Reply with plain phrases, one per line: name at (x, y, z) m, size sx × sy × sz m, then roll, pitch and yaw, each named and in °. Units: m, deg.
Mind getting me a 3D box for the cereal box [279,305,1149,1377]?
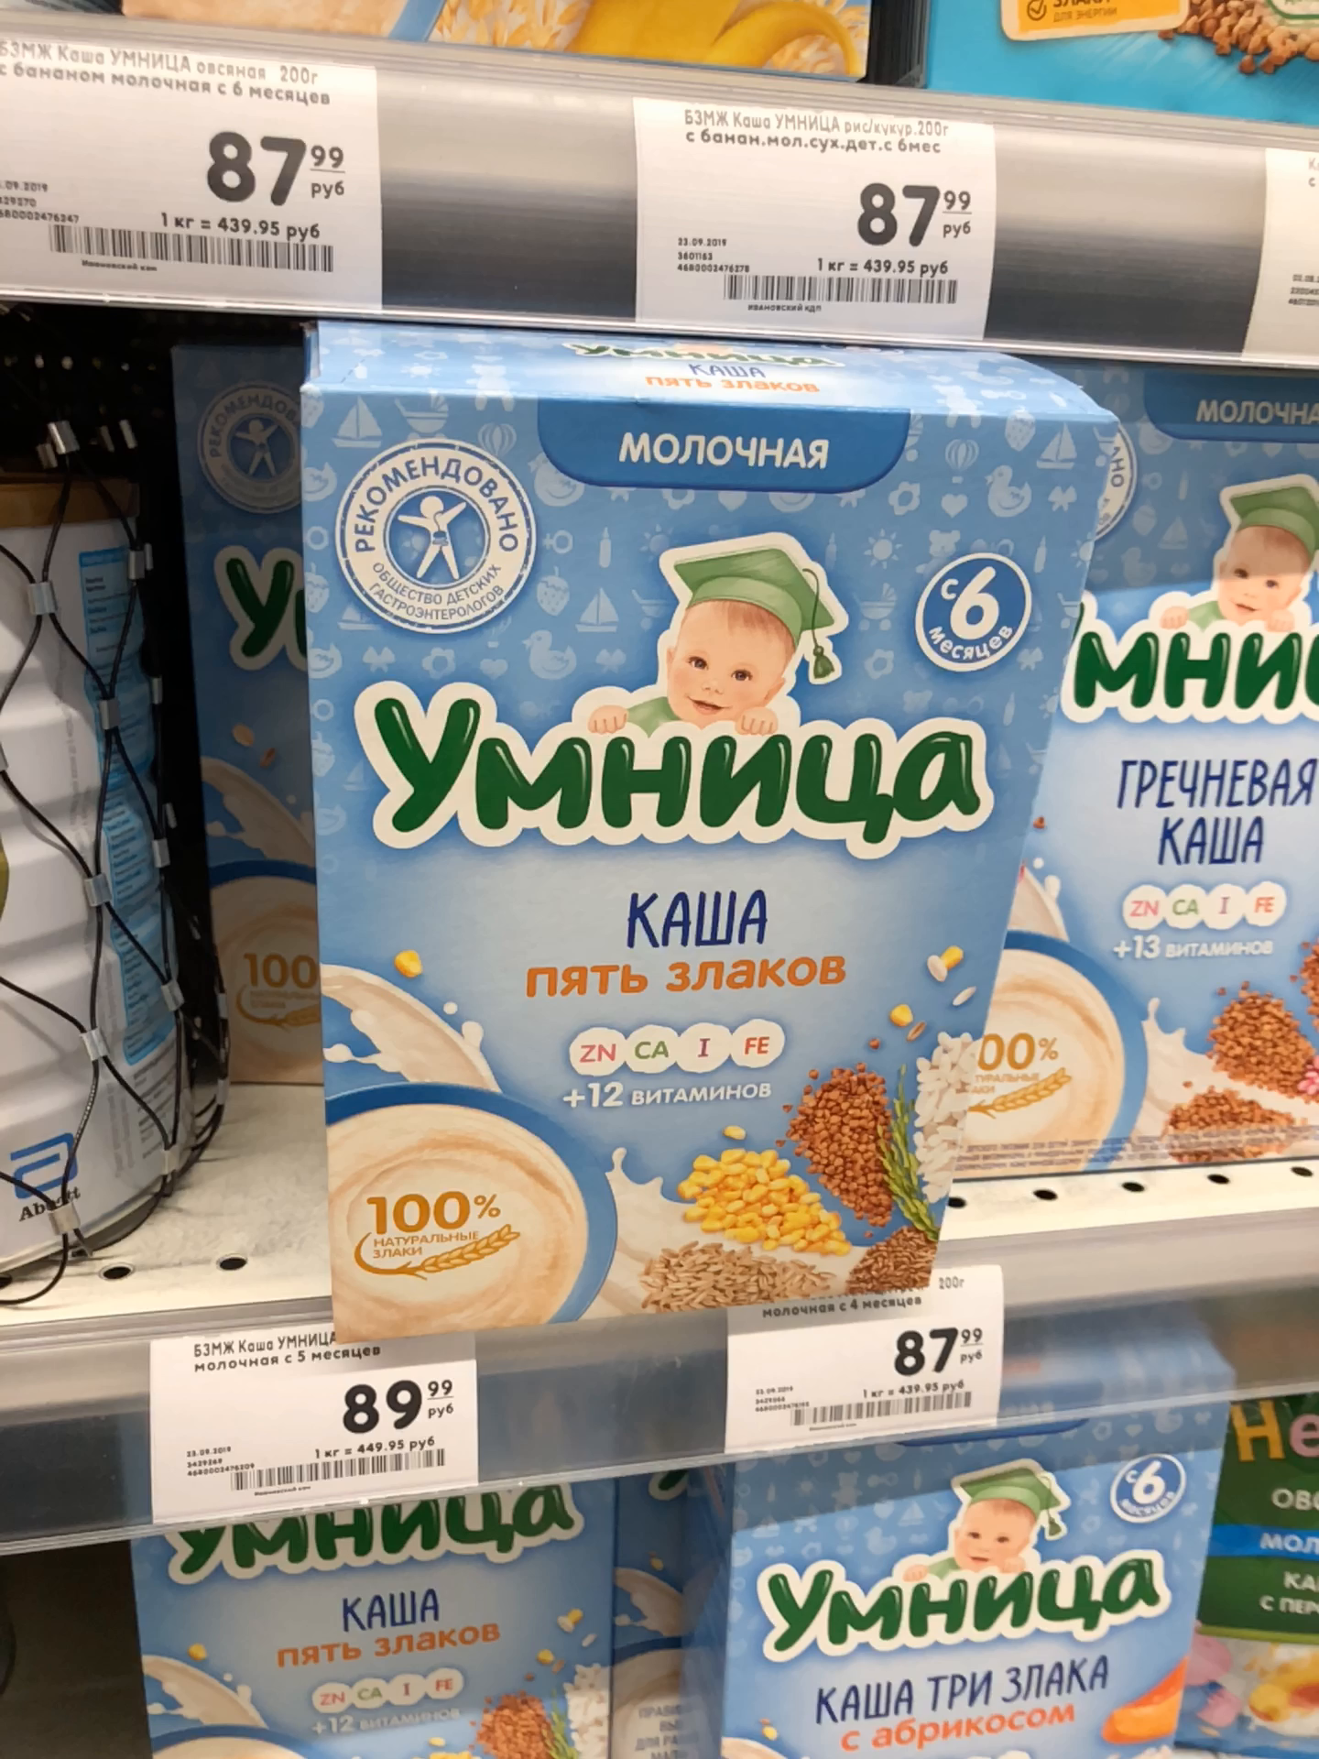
cereal box at (0.000, -0.001, 0.306) m, size 0.140 × 0.209 × 0.060 m, roll -2°, pitch 30°, yaw -12°
